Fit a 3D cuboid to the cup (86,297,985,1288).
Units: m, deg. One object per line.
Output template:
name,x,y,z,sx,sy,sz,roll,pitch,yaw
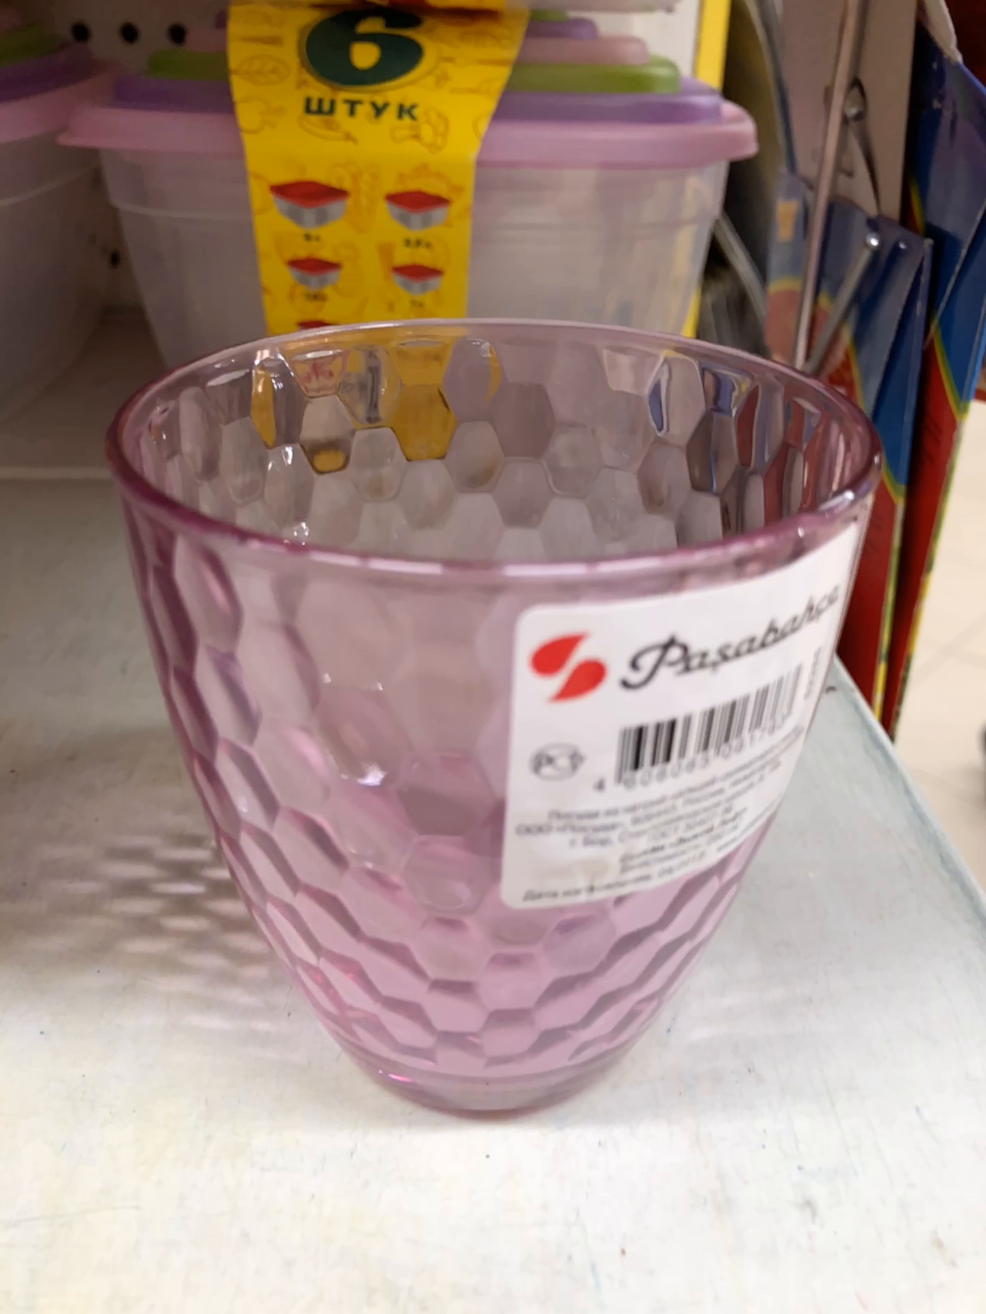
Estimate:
cup,0.004,0.005,0.137,0.090,0.074,0.078,-9,33,-17
